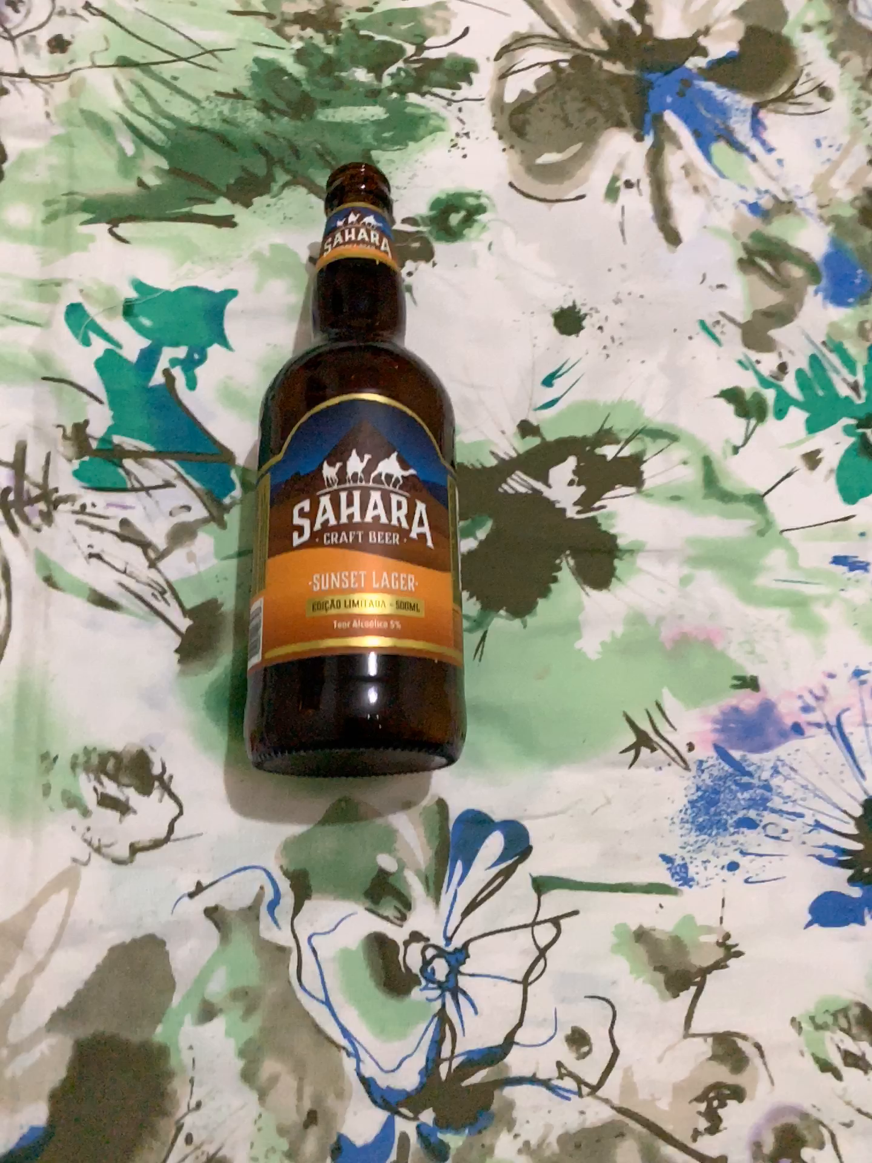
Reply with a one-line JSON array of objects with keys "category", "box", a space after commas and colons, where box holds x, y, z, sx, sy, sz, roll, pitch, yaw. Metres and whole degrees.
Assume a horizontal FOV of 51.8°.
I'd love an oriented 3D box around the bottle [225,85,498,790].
[{"category": "bottle", "box": [-0.031, -0.054, 0.335, 0.080, 0.070, 0.250, 2, 71, -11]}]
